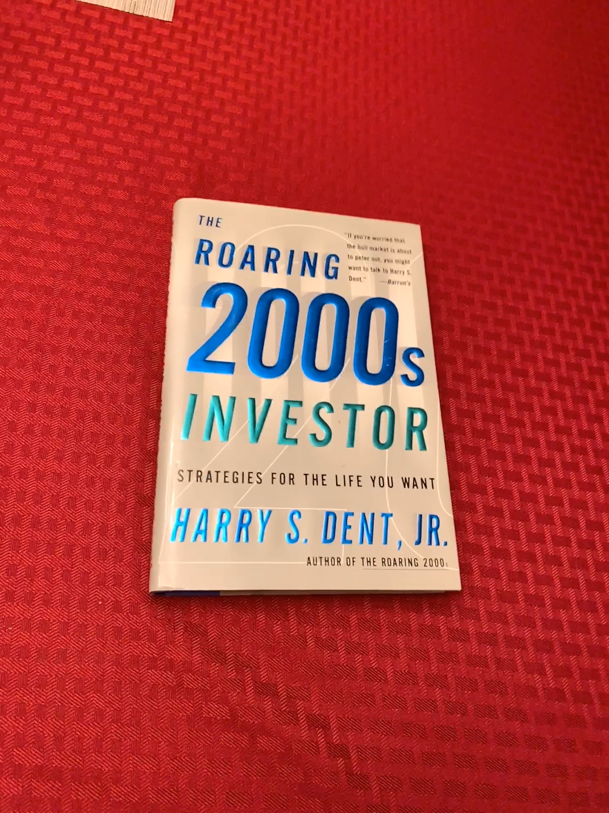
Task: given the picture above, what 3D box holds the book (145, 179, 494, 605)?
[{"bbox_3d":[0.004,-0.014,0.364,0.170,0.040,0.240,3,66,-12],"label":"book"}]
